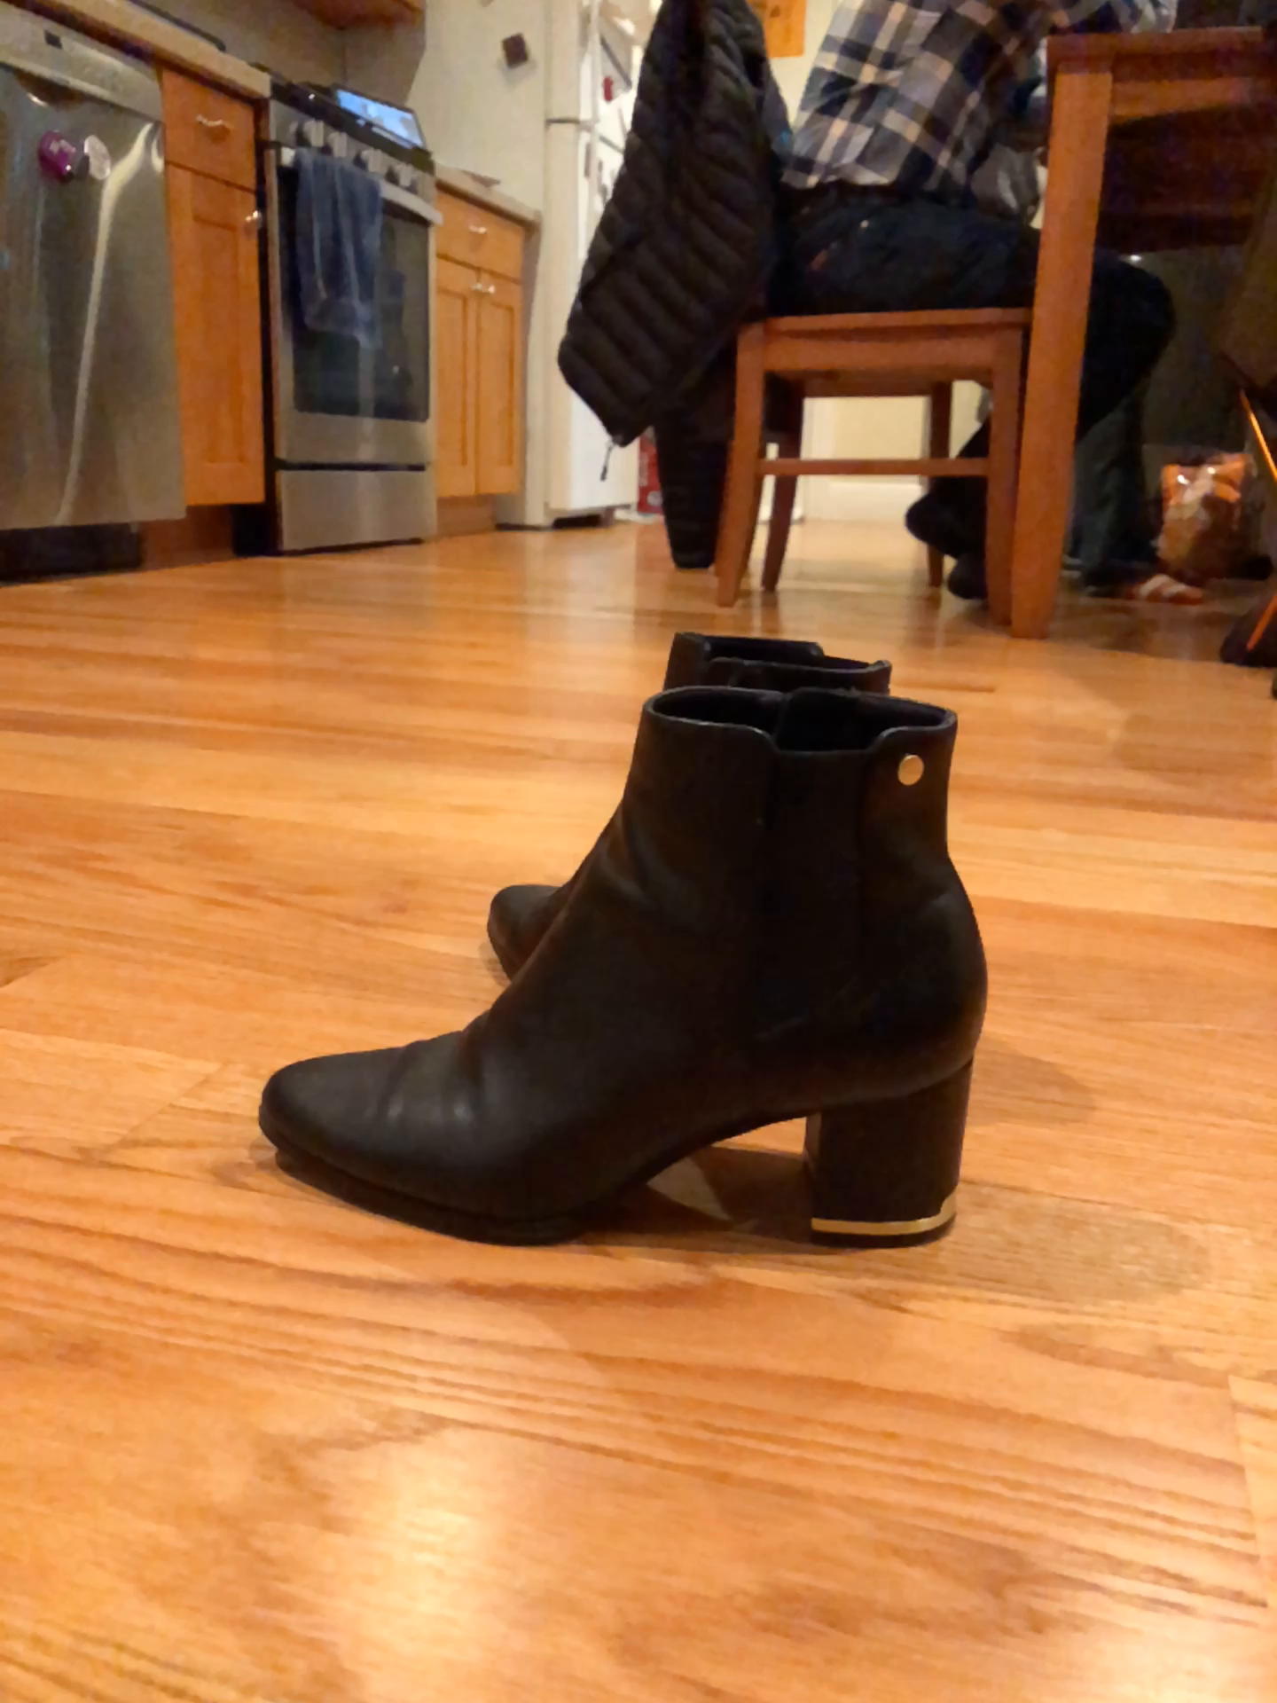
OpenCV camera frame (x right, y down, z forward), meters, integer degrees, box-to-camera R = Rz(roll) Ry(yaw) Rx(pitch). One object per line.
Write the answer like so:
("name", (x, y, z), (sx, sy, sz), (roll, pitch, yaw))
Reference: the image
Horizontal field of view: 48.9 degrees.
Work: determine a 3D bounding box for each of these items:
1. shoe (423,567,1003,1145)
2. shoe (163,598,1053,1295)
("shoe", (0.014, -0.018, 0.573), (0.095, 0.175, 0.237), (-10, 19, -38))
("shoe", (-0.008, 0.019, 0.434), (0.236, 0.175, 0.095), (4, 15, 8))
